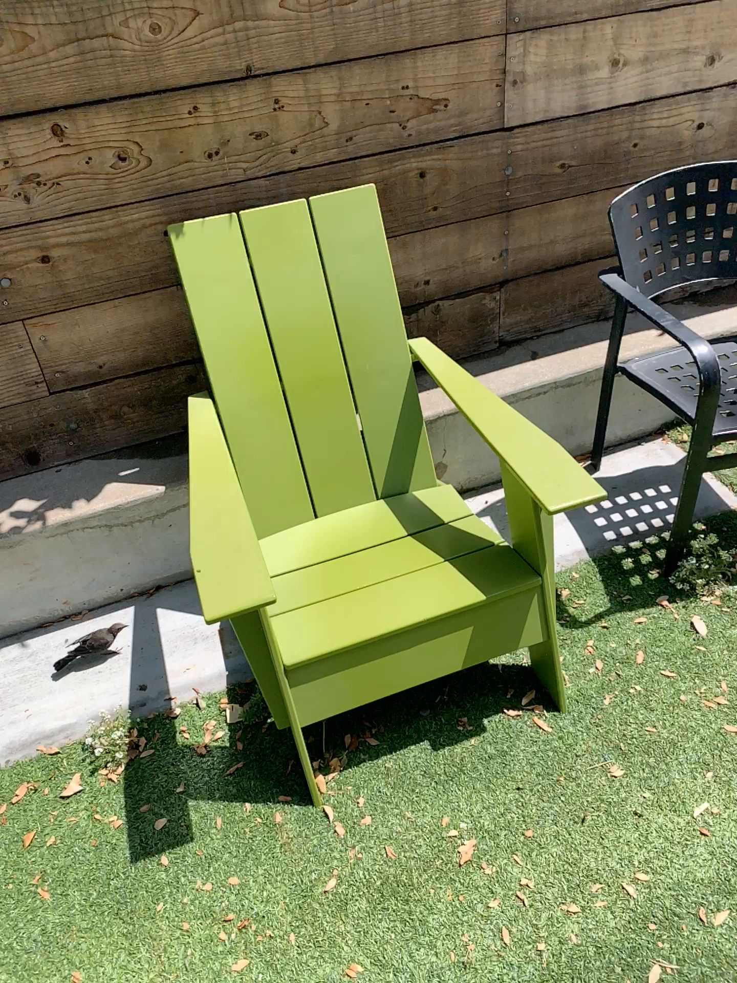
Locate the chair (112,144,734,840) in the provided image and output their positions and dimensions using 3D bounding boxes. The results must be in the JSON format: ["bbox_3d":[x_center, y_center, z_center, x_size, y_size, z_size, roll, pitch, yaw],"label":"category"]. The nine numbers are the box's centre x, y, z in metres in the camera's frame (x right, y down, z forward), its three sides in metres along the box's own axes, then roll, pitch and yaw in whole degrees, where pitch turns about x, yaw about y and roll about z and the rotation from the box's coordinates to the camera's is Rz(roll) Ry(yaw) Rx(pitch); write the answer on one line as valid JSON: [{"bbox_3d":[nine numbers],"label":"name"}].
[{"bbox_3d":[0.009,-0.060,1.480,0.720,0.845,0.906,-15,41,-11],"label":"chair"}]
